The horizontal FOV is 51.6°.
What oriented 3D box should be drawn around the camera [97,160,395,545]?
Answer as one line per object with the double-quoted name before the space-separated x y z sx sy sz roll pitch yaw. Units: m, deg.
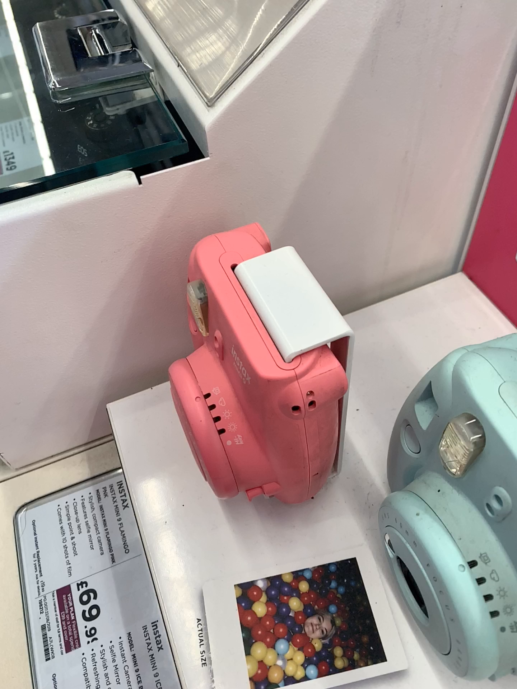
"camera" -0.009 0.005 0.258 0.080 0.119 0.121 -20 53 -10
